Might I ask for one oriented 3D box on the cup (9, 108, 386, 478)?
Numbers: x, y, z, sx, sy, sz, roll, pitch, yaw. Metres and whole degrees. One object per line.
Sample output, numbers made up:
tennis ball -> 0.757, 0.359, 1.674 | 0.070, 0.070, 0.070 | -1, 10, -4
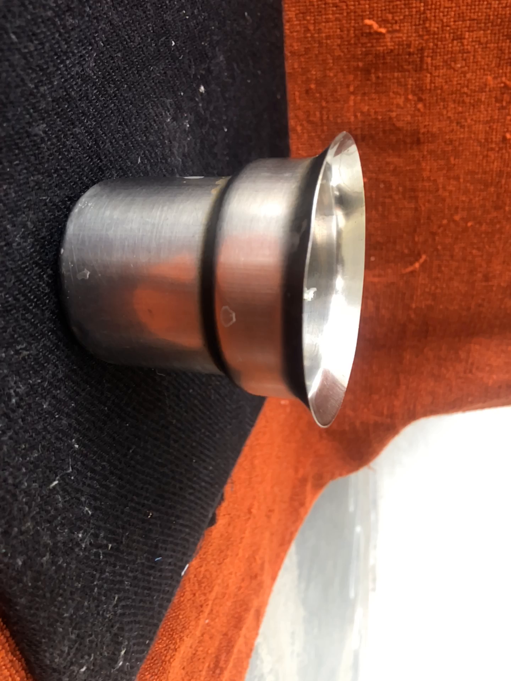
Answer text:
cup -> -0.005, -0.018, 0.158 | 0.070, 0.070, 0.070 | 5, 90, -73
